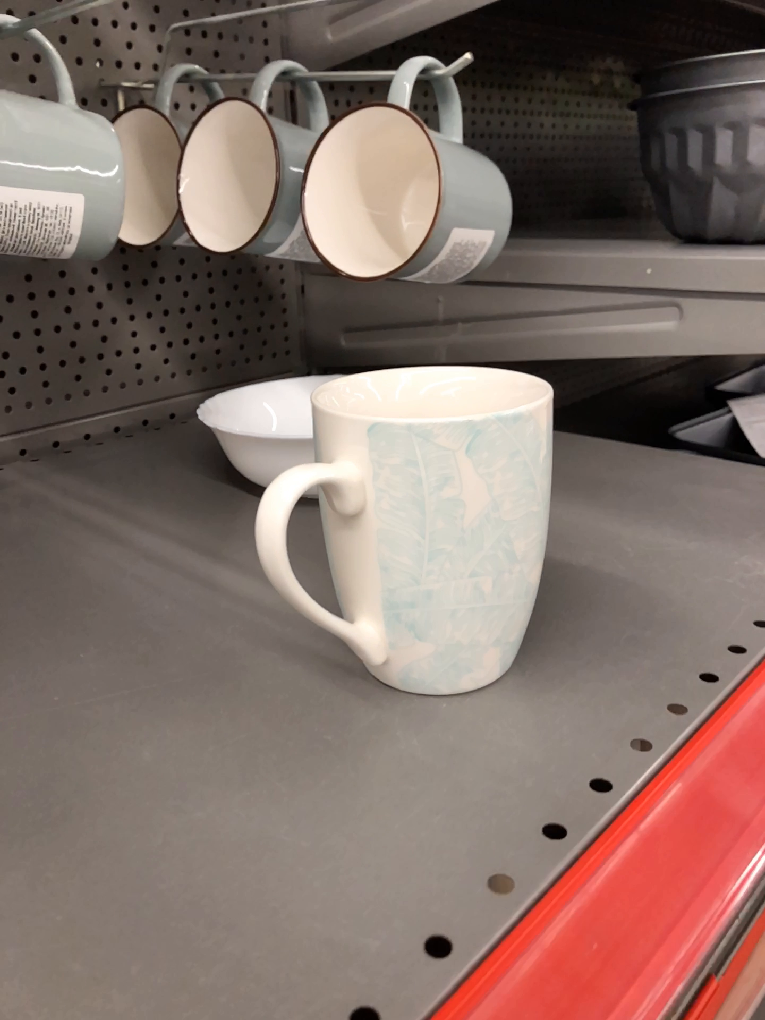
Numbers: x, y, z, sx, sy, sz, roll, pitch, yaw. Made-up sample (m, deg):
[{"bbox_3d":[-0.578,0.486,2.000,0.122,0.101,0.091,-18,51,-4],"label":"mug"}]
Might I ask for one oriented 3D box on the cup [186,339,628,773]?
[{"bbox_3d":[0.011,0.003,0.294,0.121,0.098,0.083,-19,28,-39],"label":"cup"}]
